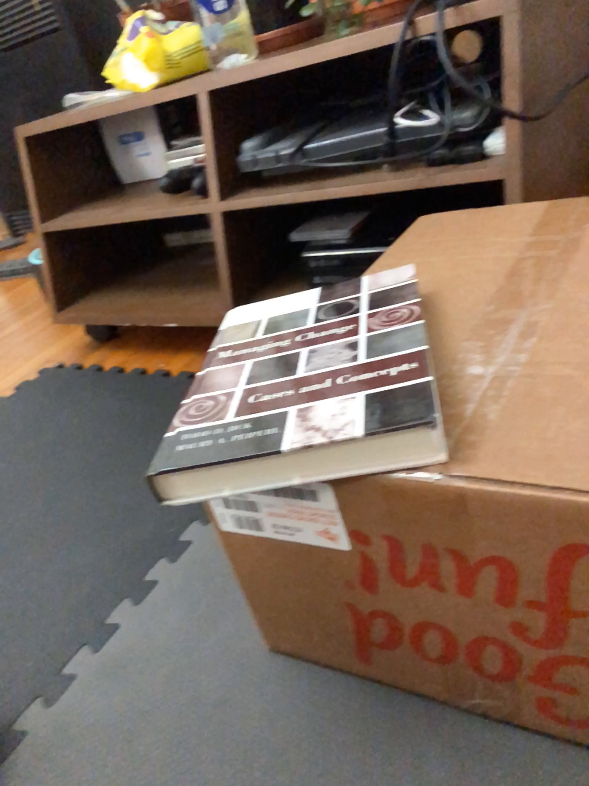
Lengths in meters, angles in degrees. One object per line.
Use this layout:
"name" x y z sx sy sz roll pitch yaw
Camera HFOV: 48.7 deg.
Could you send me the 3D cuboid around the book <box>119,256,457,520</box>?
"book" 0.006 -0.020 0.454 0.180 0.030 0.251 -10 29 13
